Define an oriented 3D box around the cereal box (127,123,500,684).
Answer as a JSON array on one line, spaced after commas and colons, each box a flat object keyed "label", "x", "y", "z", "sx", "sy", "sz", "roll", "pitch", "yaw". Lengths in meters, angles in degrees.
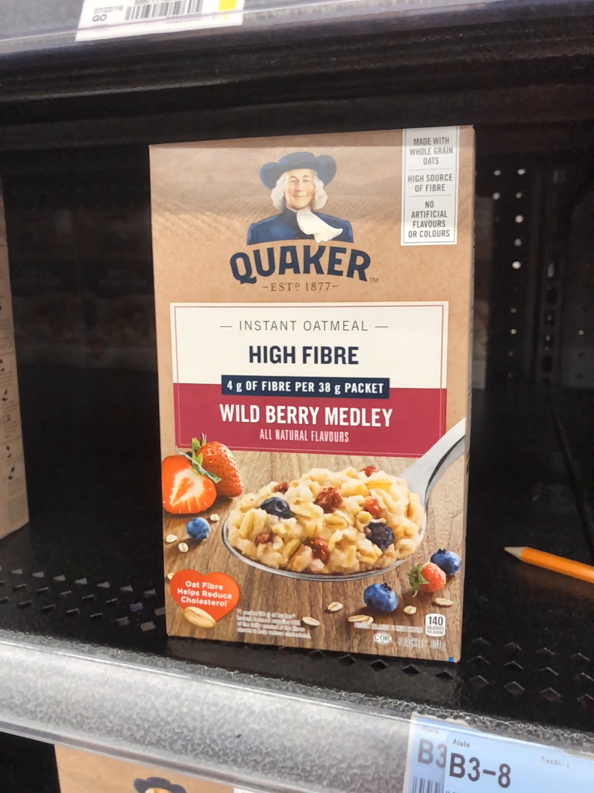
[{"label": "cereal box", "x": 0.009, "y": 0.001, "z": 0.279, "sx": 0.130, "sy": 0.200, "sz": 0.070, "roll": 1, "pitch": 9, "yaw": 10}]
